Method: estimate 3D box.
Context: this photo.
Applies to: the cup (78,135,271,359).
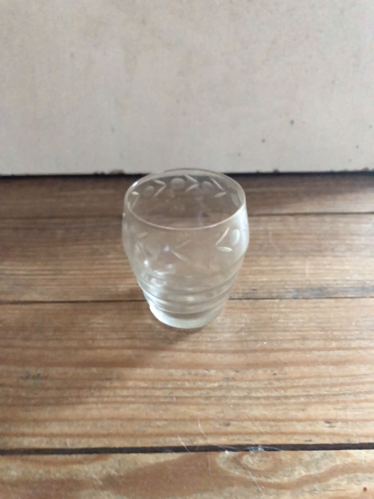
[{"bbox_3d":[-0.005,-0.003,0.172,0.050,0.060,0.050,0,38,0],"label":"cup"}]
